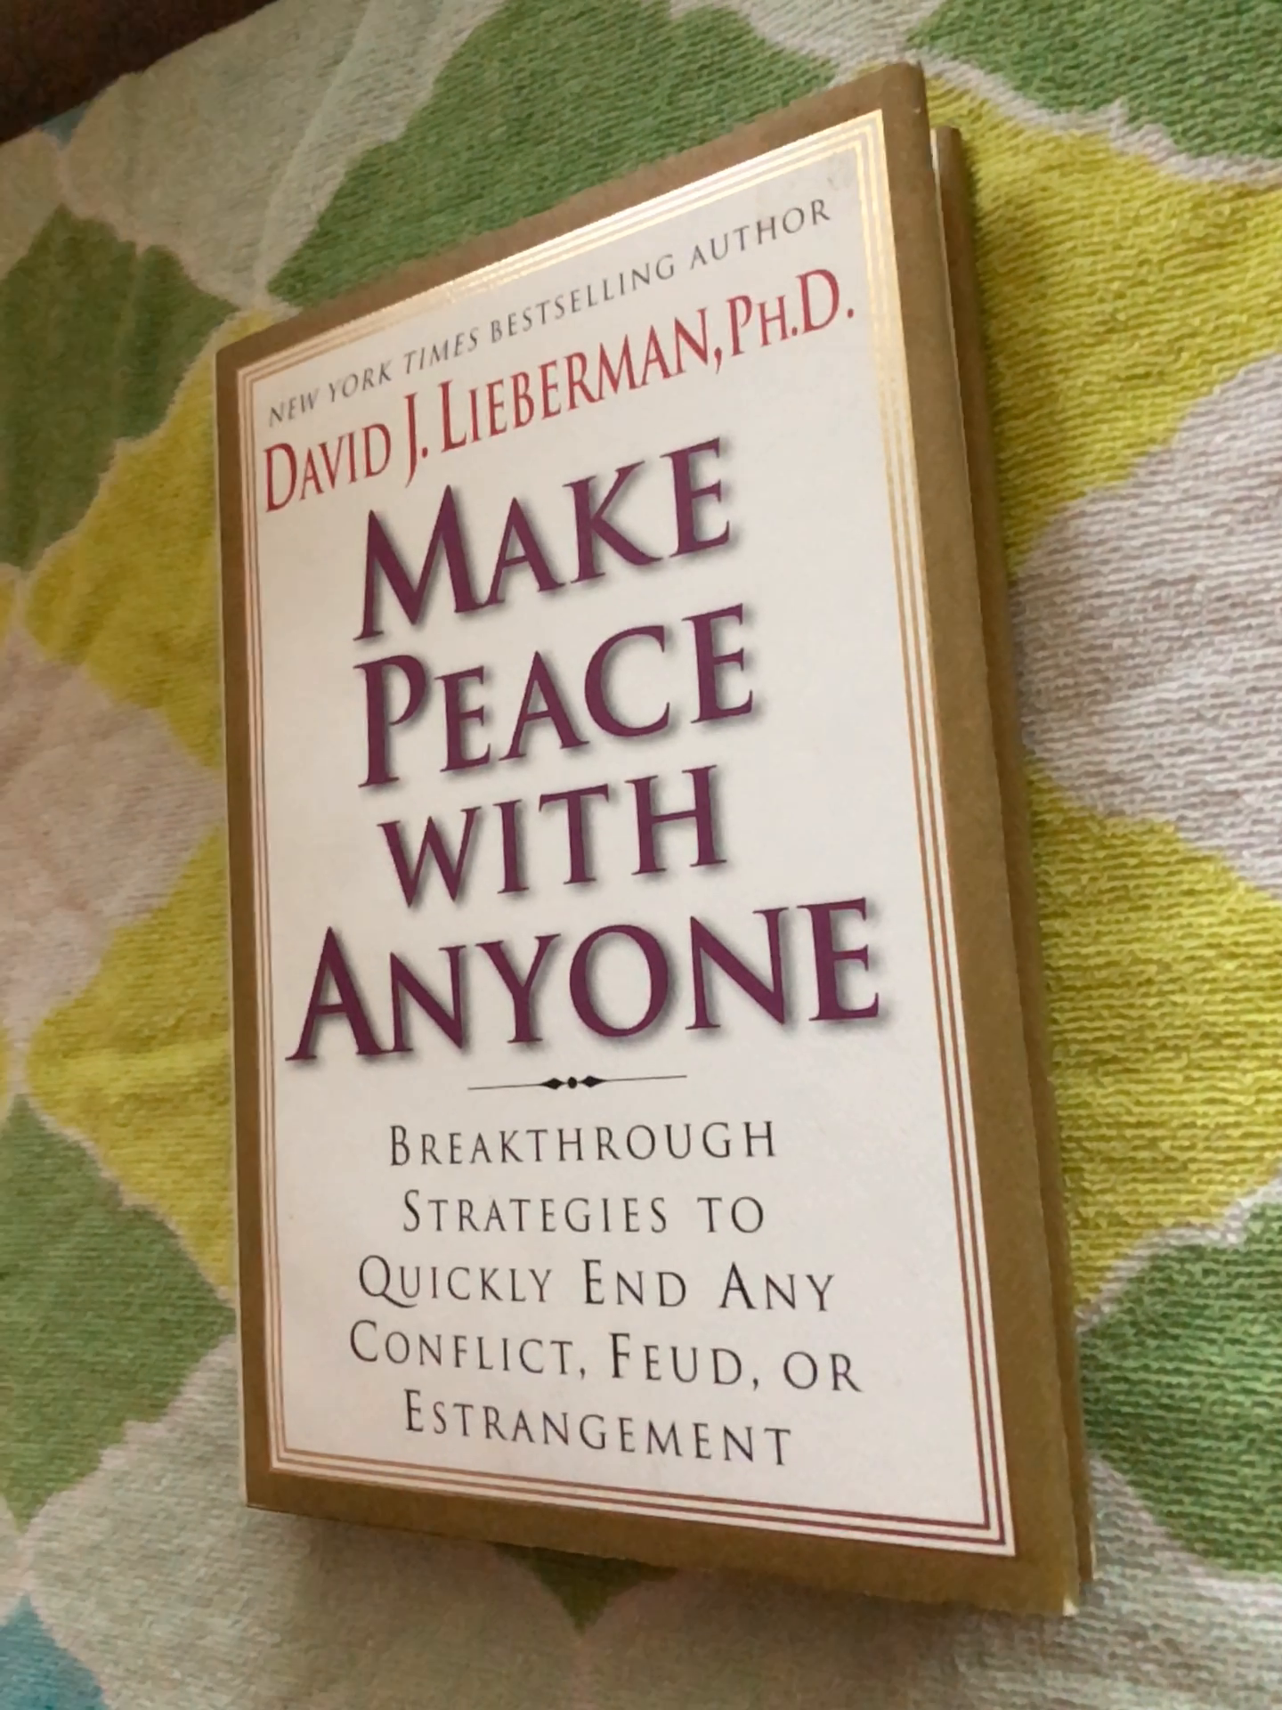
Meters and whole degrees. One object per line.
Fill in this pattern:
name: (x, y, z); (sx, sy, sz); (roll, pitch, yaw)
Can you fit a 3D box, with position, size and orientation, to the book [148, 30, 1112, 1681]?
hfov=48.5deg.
book: (-0.015, 0.001, 0.223); (0.146, 0.030, 0.204); (-9, 79, 30)
